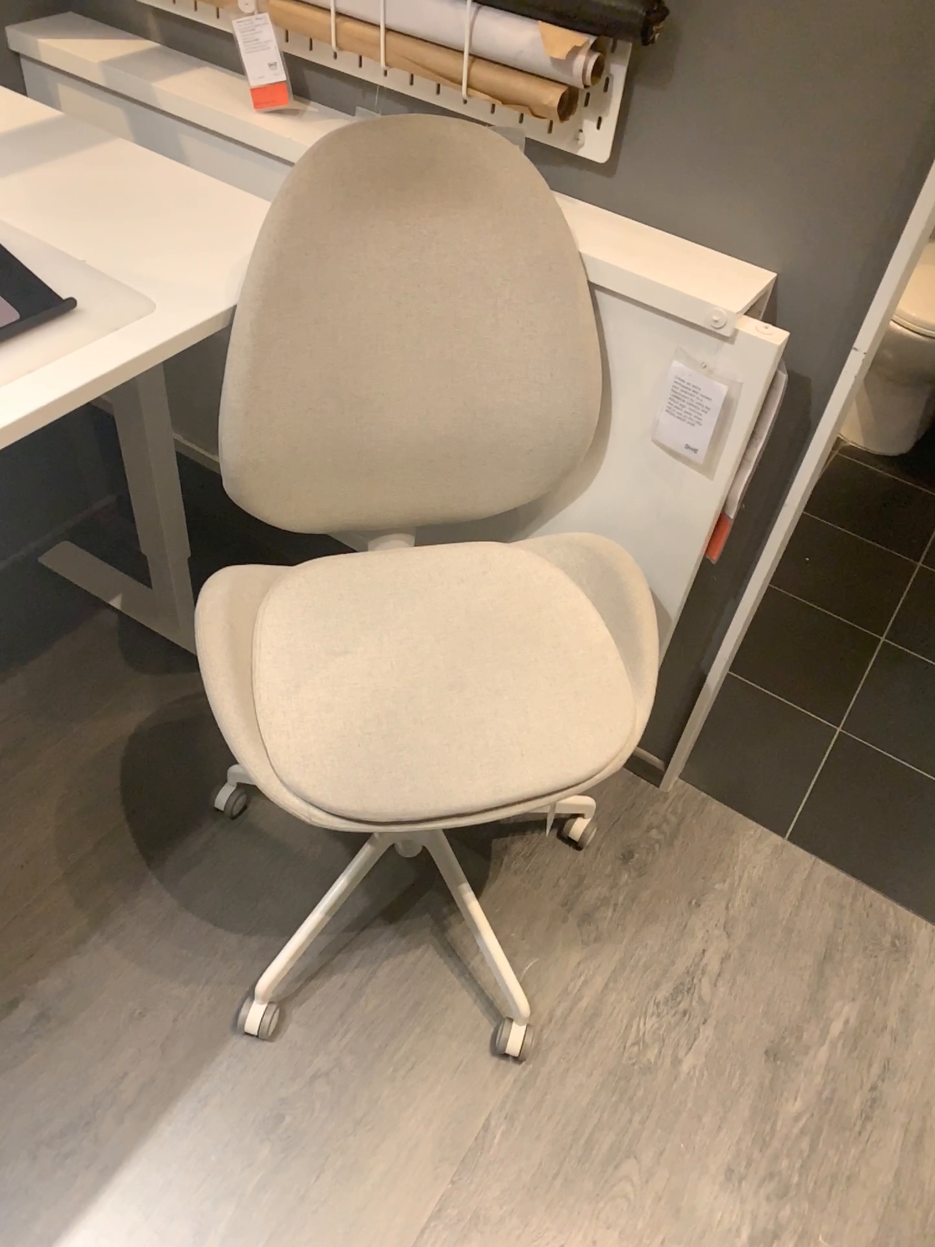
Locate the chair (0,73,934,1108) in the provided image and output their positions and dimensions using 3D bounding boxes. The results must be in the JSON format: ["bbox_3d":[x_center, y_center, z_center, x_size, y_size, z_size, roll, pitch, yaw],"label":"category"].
[{"bbox_3d":[-0.019,0.033,1.044,0.610,0.937,0.592,-1,47,-9],"label":"chair"}]
